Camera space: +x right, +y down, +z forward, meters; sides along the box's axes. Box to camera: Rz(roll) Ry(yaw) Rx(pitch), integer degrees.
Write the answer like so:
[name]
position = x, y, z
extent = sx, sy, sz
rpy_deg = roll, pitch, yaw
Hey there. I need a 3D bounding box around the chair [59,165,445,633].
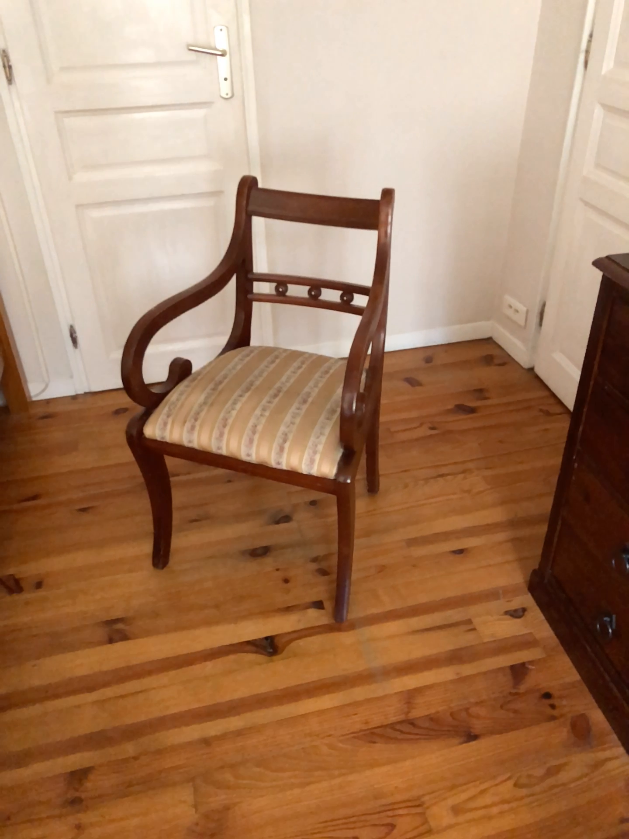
[chair]
position = -0.085, -0.078, 1.616
extent = 0.580, 0.825, 0.574
rpy_deg = 12, 36, 19
